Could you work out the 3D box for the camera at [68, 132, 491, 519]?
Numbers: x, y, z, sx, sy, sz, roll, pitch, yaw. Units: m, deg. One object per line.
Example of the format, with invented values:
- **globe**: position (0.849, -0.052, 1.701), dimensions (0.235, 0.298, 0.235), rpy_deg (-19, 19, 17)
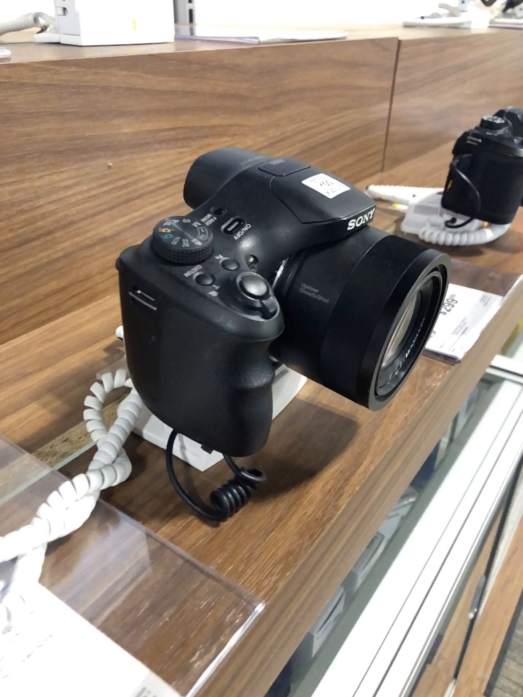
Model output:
- **camera**: position (0.010, -0.026, 0.258), dimensions (0.120, 0.089, 0.131), rpy_deg (26, 38, 25)
